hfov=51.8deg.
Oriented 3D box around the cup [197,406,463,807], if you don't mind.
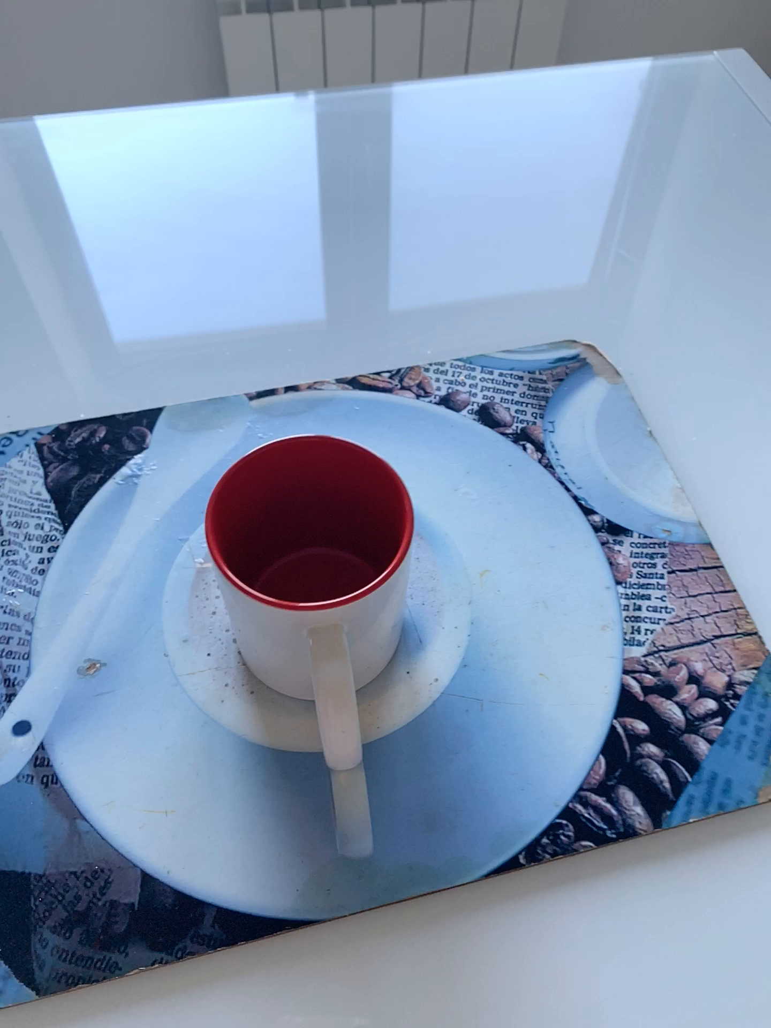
[{"bbox_3d":[-0.026,0.042,0.333,0.077,0.115,0.117,-9,58,-7],"label":"cup"}]
